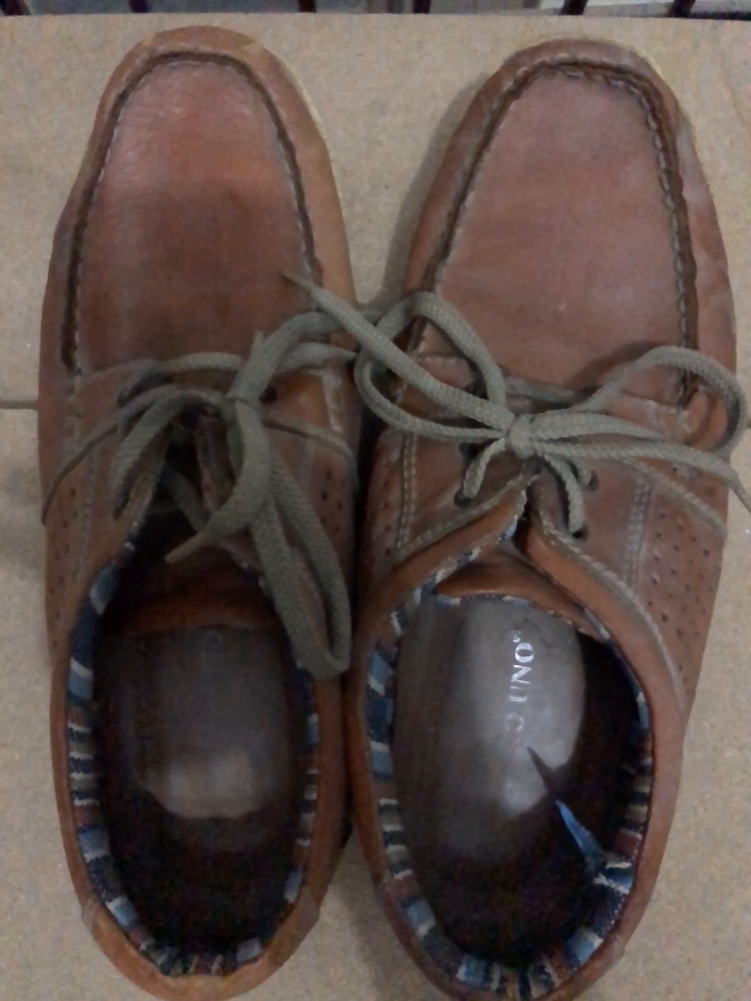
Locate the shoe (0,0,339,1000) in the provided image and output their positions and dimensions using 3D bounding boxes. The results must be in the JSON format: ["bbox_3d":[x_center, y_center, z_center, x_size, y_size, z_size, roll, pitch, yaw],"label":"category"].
[{"bbox_3d":[-0.072,-0.020,0.244,0.100,0.100,0.287,-3,80,9],"label":"shoe"}]

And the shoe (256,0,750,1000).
[{"bbox_3d":[0.045,-0.014,0.229,0.100,0.100,0.280,3,80,10],"label":"shoe"}]
